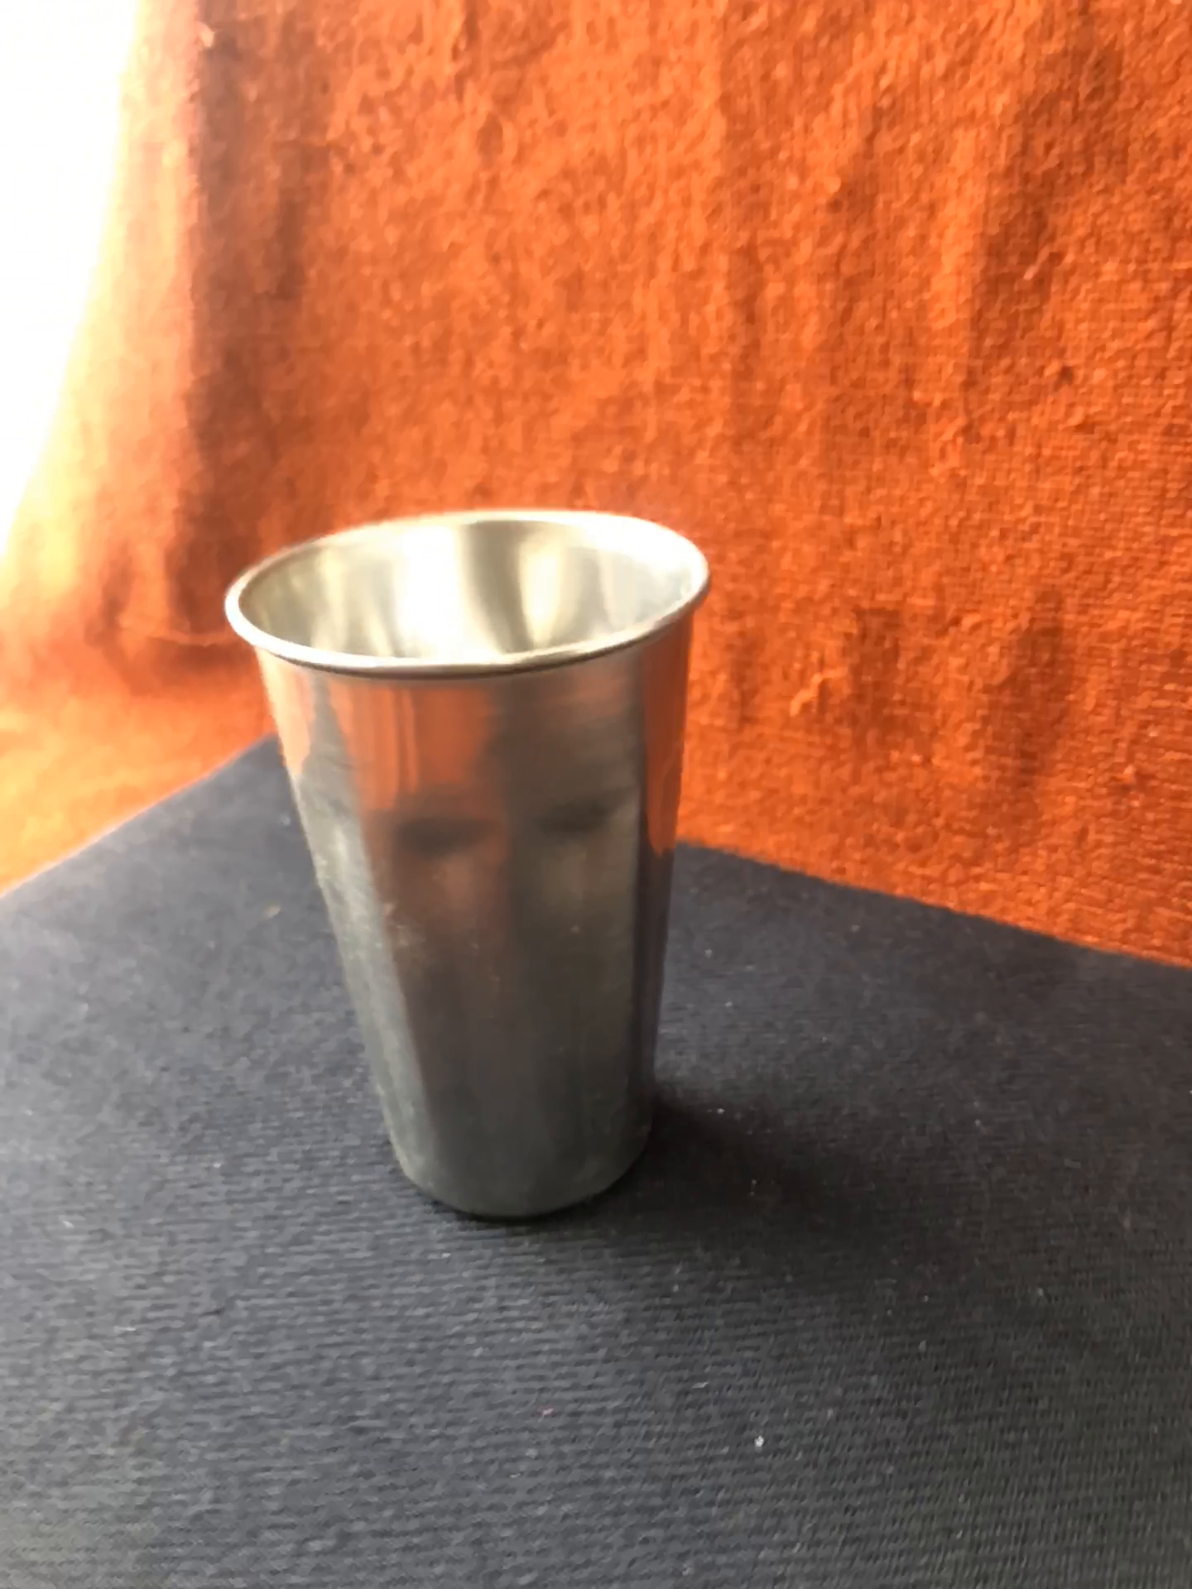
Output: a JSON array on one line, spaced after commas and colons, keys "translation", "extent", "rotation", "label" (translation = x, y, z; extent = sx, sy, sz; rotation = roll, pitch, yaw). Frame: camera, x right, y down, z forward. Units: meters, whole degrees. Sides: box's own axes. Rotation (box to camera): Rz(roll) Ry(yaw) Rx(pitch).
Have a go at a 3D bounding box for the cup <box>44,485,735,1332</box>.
[{"translation": [-0.025, 0.011, 0.215], "extent": [0.070, 0.100, 0.070], "rotation": [-2, 26, 1], "label": "cup"}]
